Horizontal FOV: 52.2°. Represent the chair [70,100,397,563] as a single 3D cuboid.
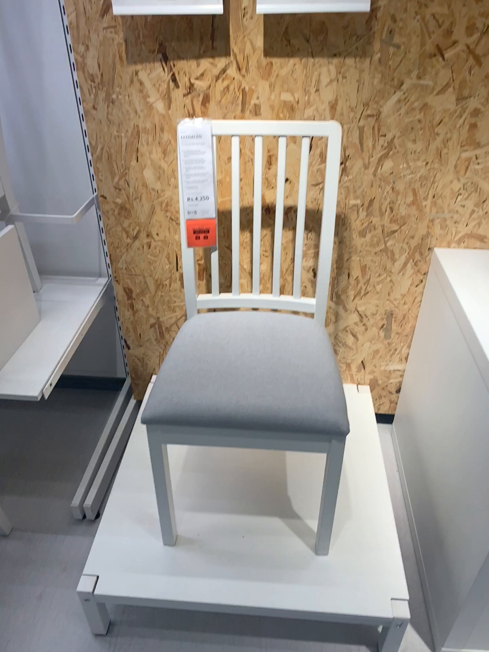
[{"bbox_3d":[0.002,0.026,1.116,0.430,0.887,0.512,2,35,4],"label":"chair"}]
